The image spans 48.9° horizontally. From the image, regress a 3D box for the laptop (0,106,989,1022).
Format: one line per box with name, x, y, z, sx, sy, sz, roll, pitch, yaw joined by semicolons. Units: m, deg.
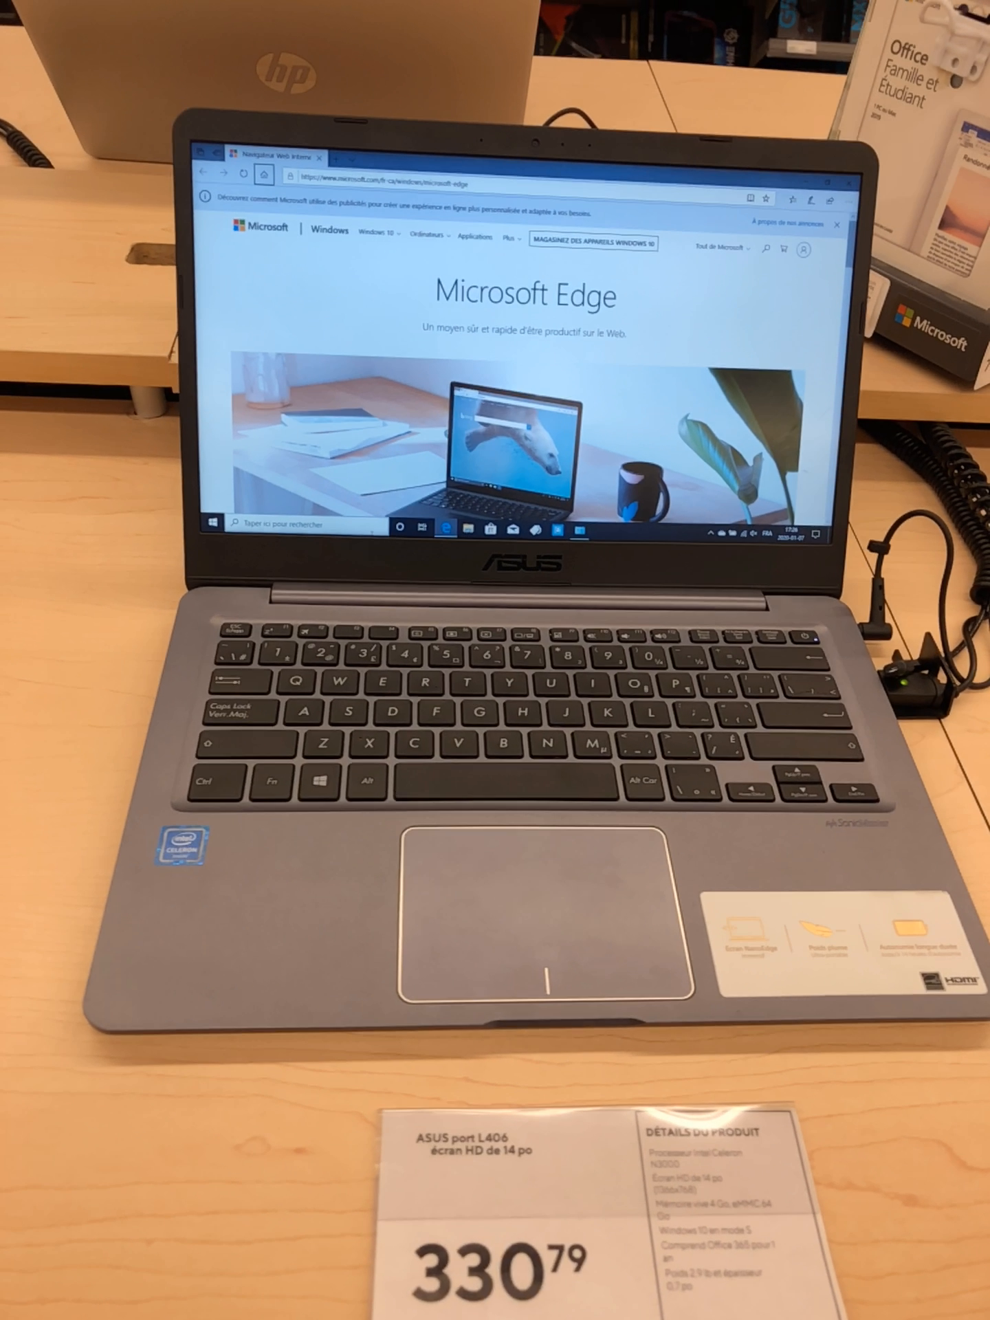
laptop;0.021;-0.057;0.428;0.309;0.173;0.328;1;46;-4
